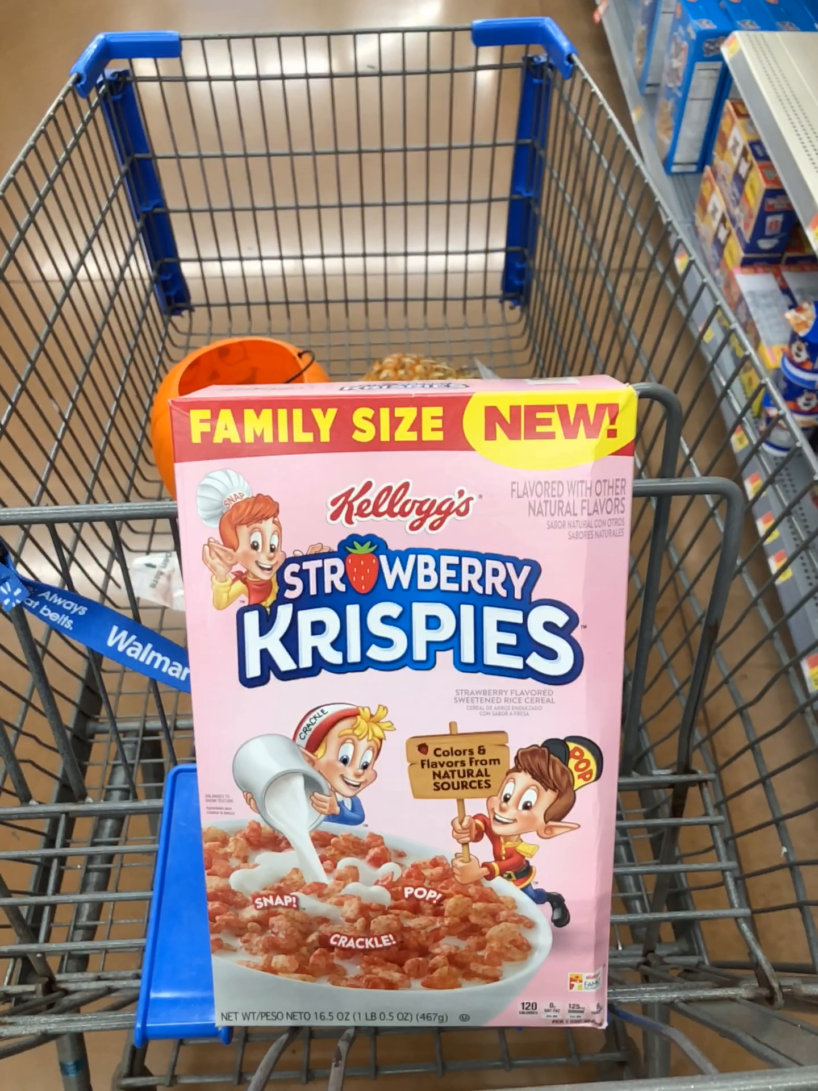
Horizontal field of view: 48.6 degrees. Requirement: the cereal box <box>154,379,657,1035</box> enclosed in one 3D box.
[{"bbox_3d":[0.000,0.071,0.426,0.200,0.290,0.080,-1,11,-1],"label":"cereal box"}]
